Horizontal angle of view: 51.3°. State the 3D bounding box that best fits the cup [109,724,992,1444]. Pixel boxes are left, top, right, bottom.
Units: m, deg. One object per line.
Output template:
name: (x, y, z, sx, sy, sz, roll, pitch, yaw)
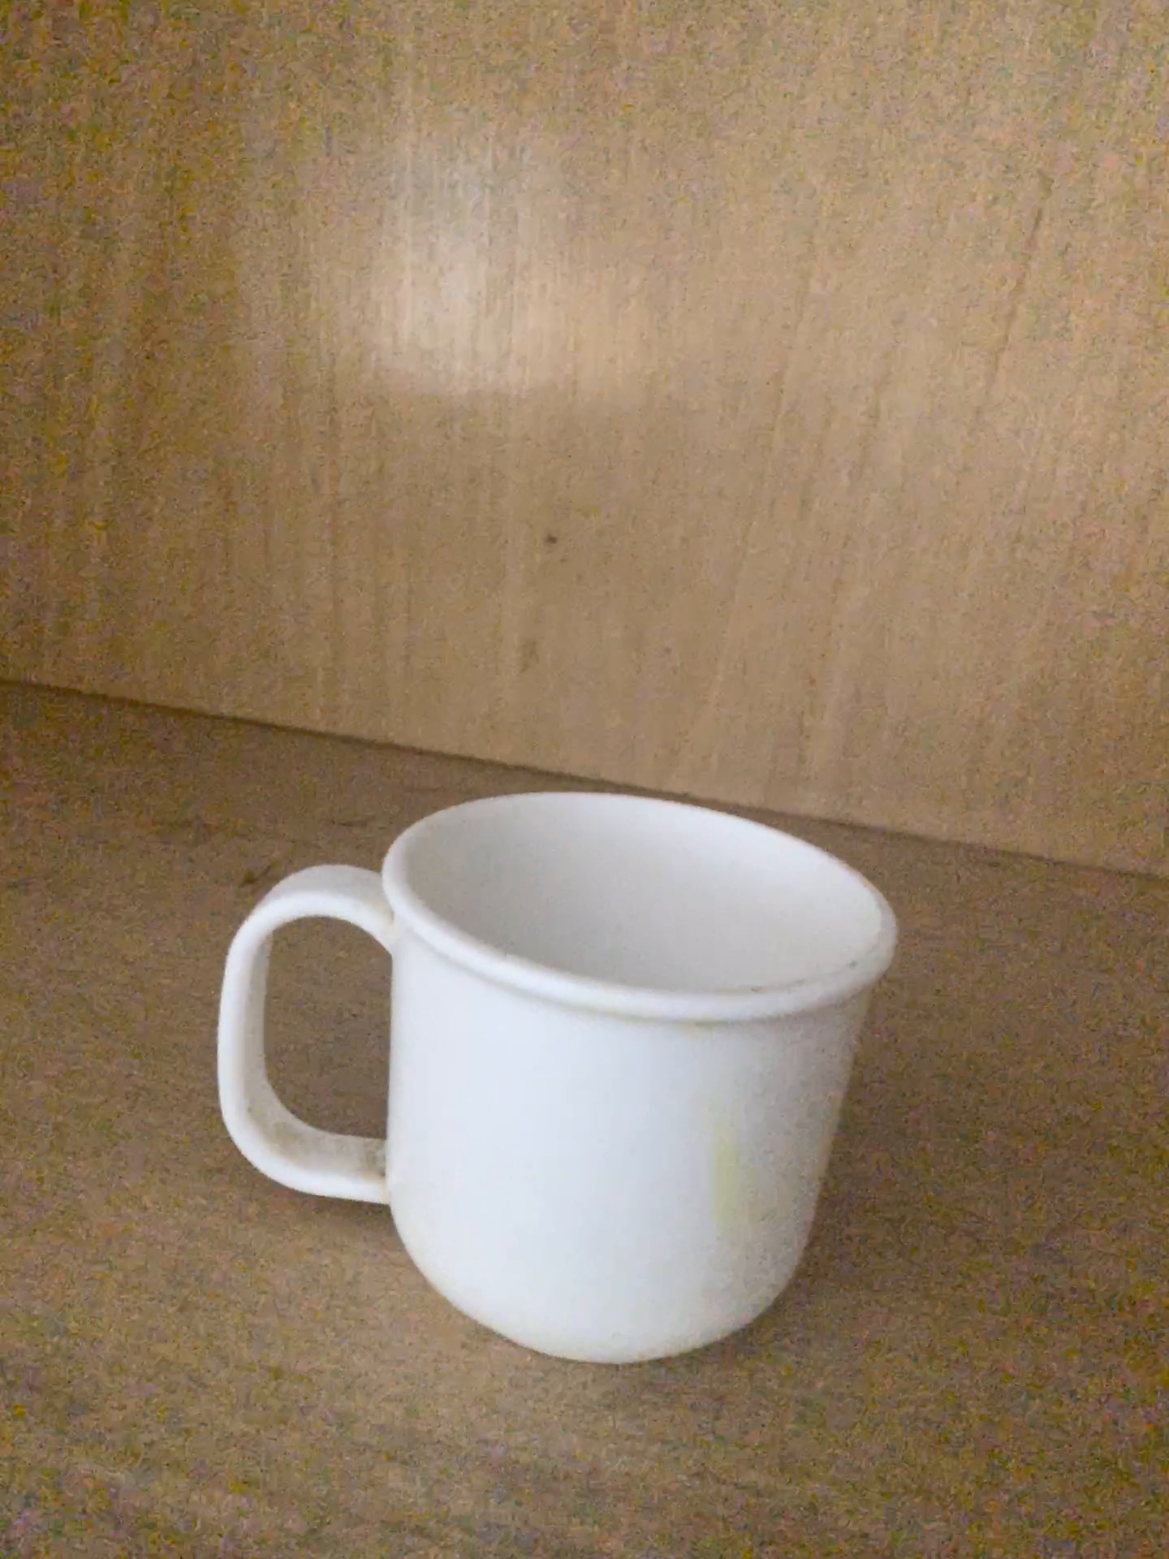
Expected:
cup: (-0.007, 0.042, 0.200, 0.110, 0.070, 0.080, 7, 18, -1)
